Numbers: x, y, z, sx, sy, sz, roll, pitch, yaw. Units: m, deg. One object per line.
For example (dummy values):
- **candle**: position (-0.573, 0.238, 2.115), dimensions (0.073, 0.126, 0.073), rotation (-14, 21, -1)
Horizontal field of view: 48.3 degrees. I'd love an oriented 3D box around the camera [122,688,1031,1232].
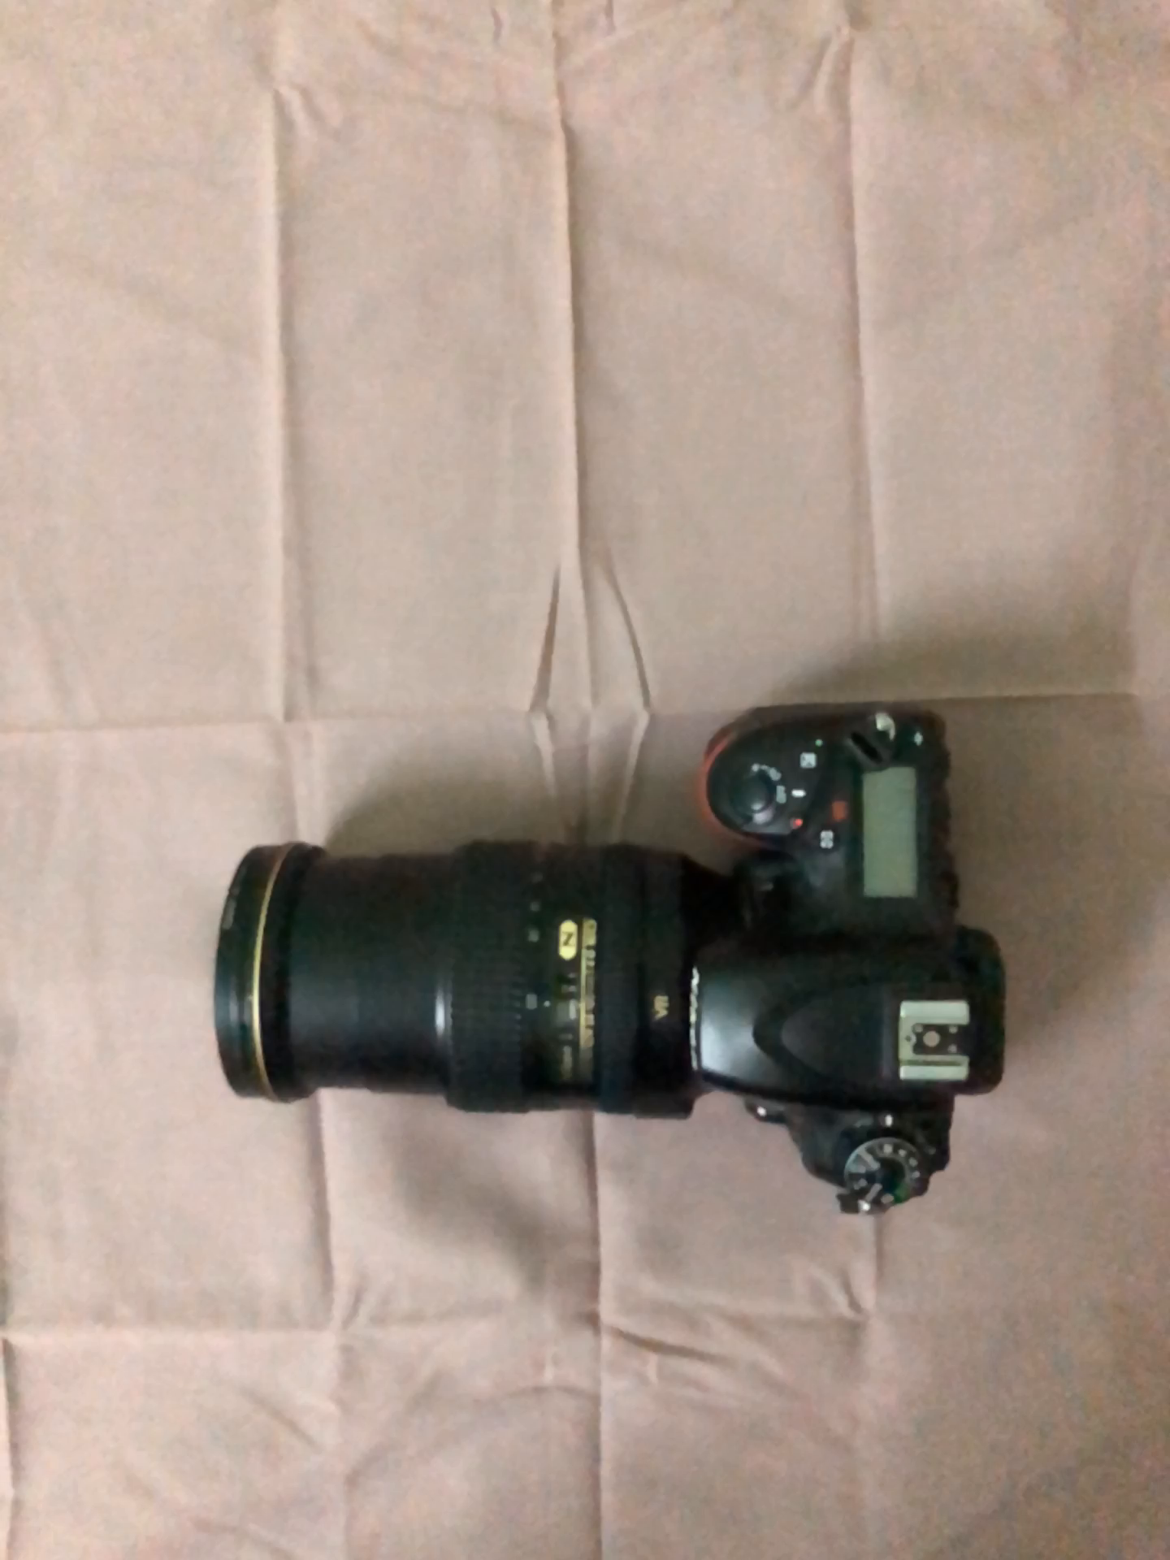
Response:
- **camera**: position (-0.001, 0.045, 0.390), dimensions (0.231, 0.110, 0.139), rotation (0, 92, 2)
